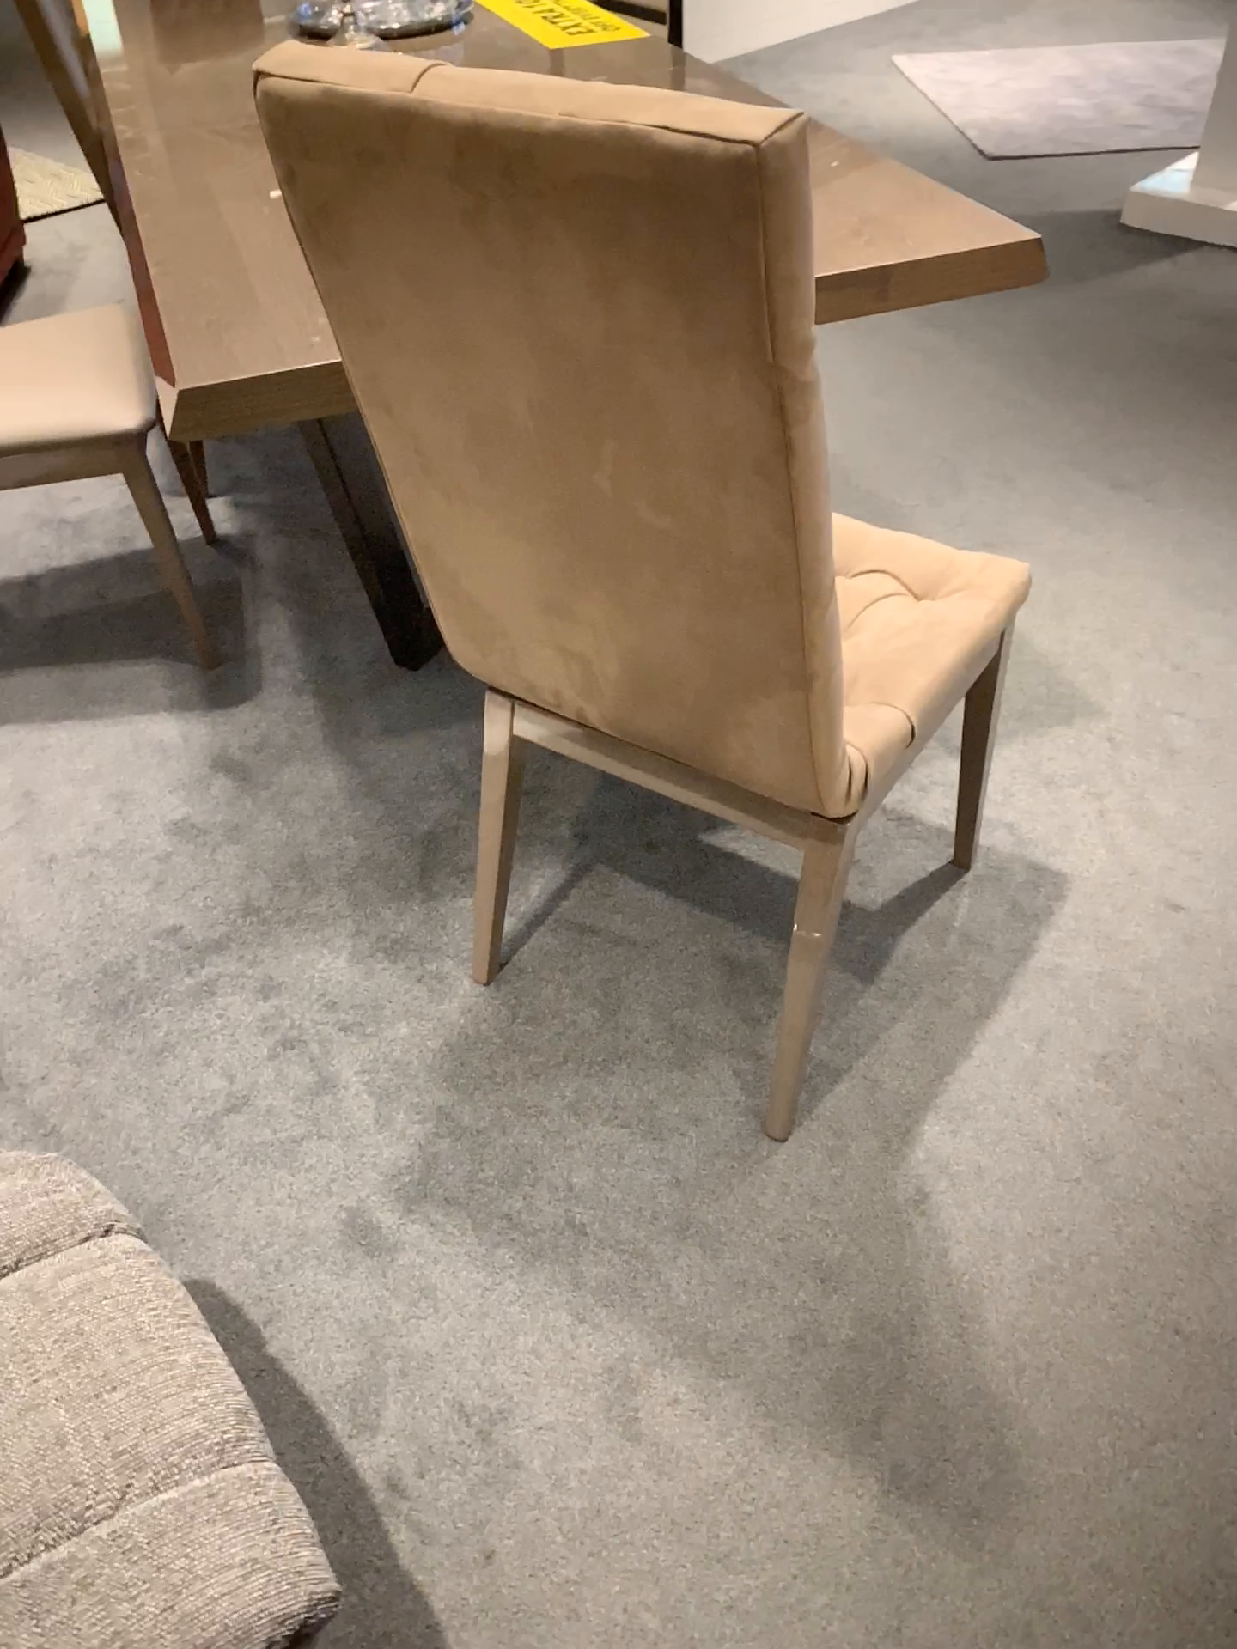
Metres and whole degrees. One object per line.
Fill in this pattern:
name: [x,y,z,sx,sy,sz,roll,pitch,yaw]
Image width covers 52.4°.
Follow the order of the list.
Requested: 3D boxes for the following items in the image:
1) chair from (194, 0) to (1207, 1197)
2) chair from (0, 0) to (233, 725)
chair: [0.117,-0.264,1.292,0.525,1.021,0.640,21,47,25]
chair: [-1.075,-0.759,1.975,0.636,1.021,0.528,-7,42,-5]
